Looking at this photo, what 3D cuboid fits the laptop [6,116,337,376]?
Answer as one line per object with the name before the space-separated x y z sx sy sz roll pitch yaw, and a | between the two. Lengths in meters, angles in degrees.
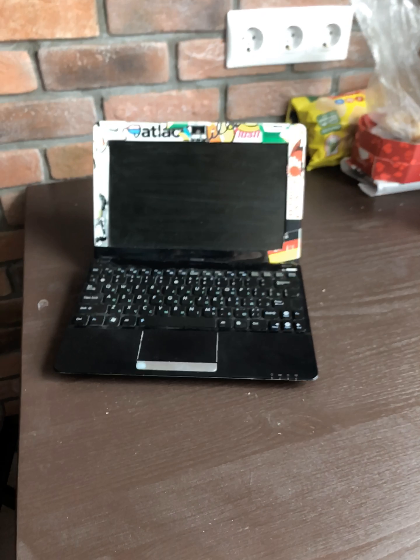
laptop | -0.022 -0.055 0.504 0.257 0.140 0.269 2 39 3
